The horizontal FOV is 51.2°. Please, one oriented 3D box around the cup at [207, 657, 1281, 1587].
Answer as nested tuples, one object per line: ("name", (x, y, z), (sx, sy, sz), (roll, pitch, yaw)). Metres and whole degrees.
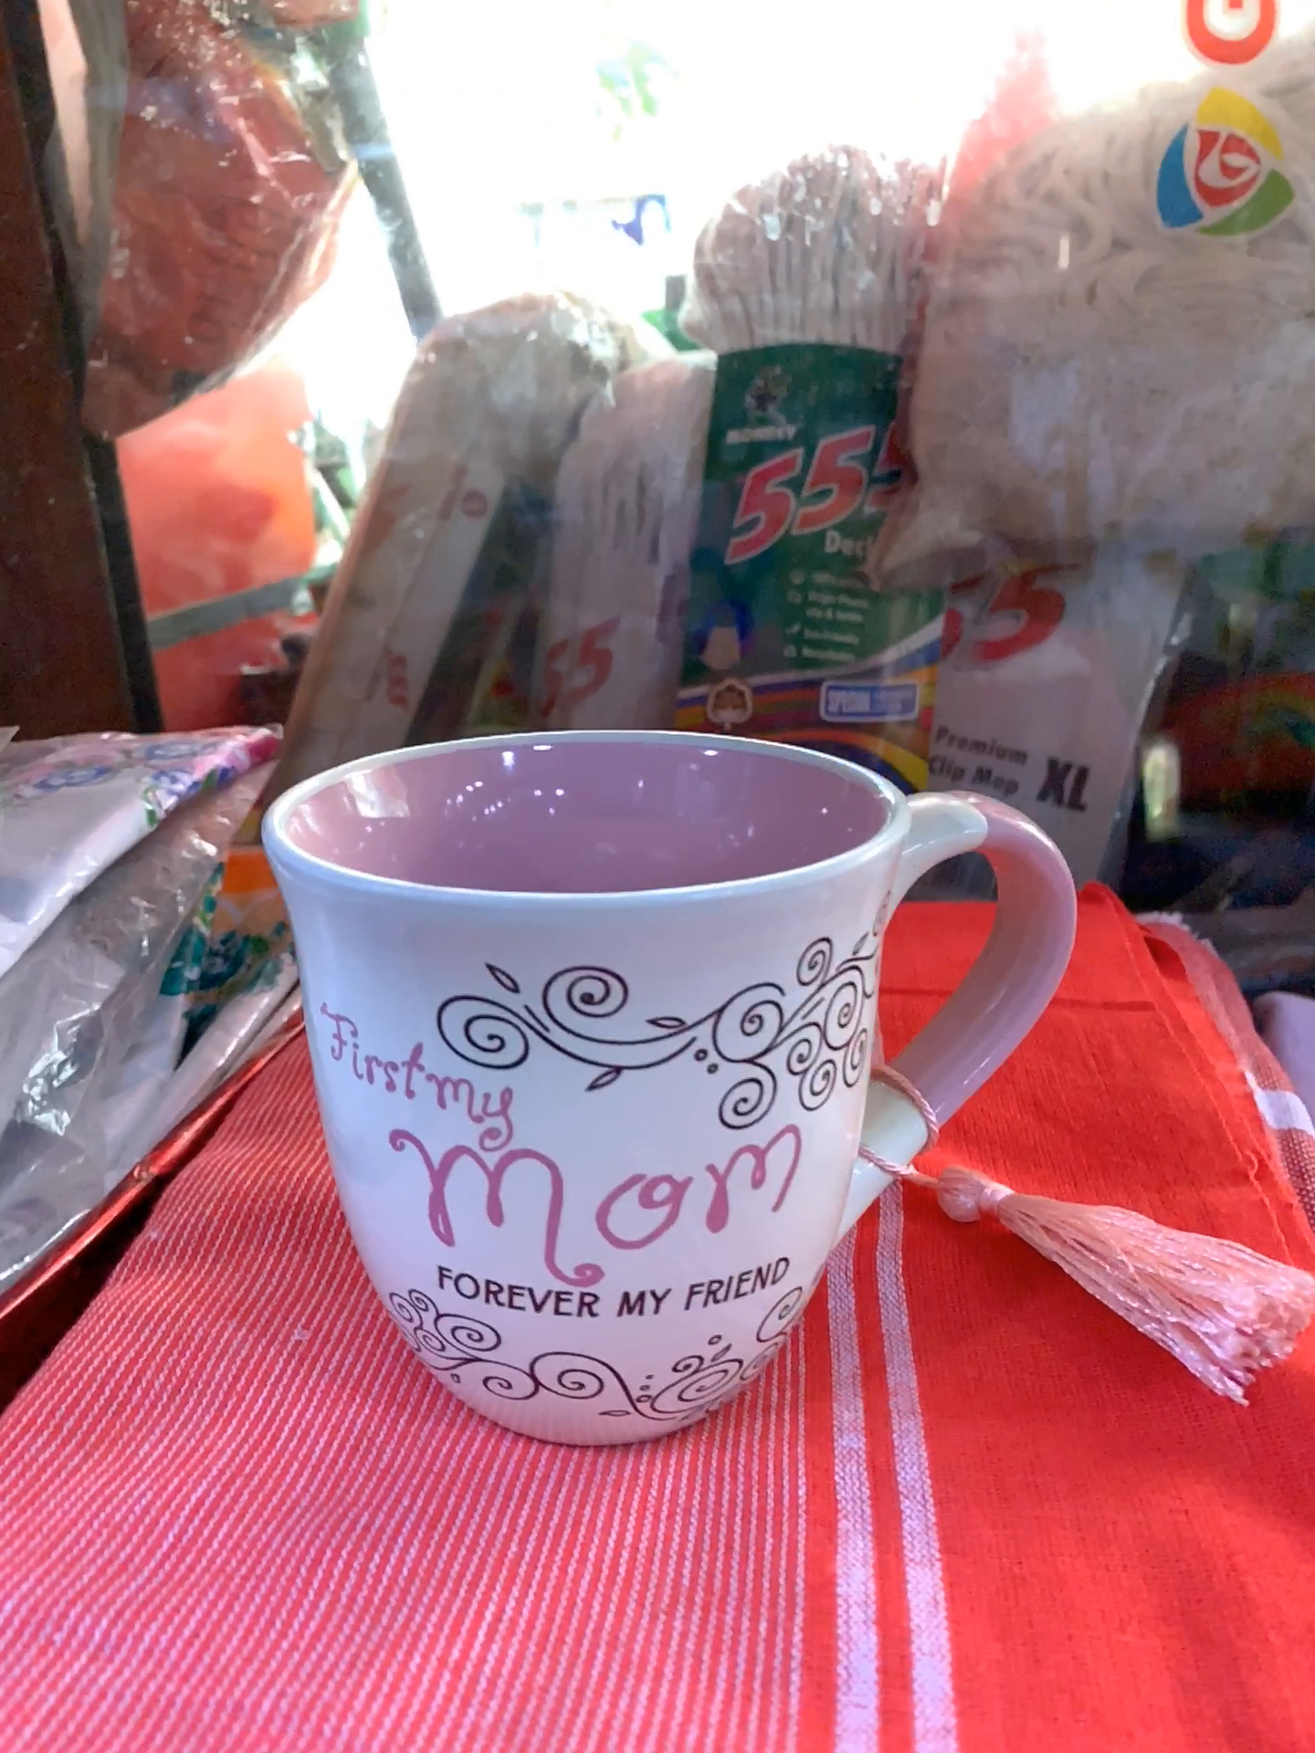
("cup", (0.011, 0.020, 0.217), (0.130, 0.080, 0.094), (-13, 21, -26))
